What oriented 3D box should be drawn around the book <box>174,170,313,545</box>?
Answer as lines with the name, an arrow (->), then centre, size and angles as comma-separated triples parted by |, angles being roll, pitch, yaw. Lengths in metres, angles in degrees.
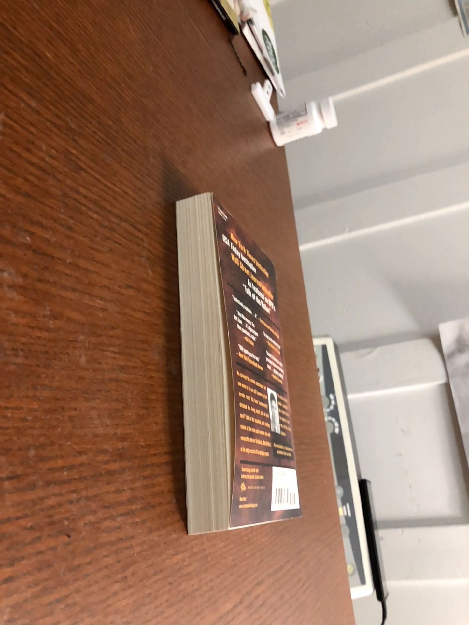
book -> 0.008, 0.035, 0.361 | 0.140, 0.030, 0.220 | 38, 44, -60
